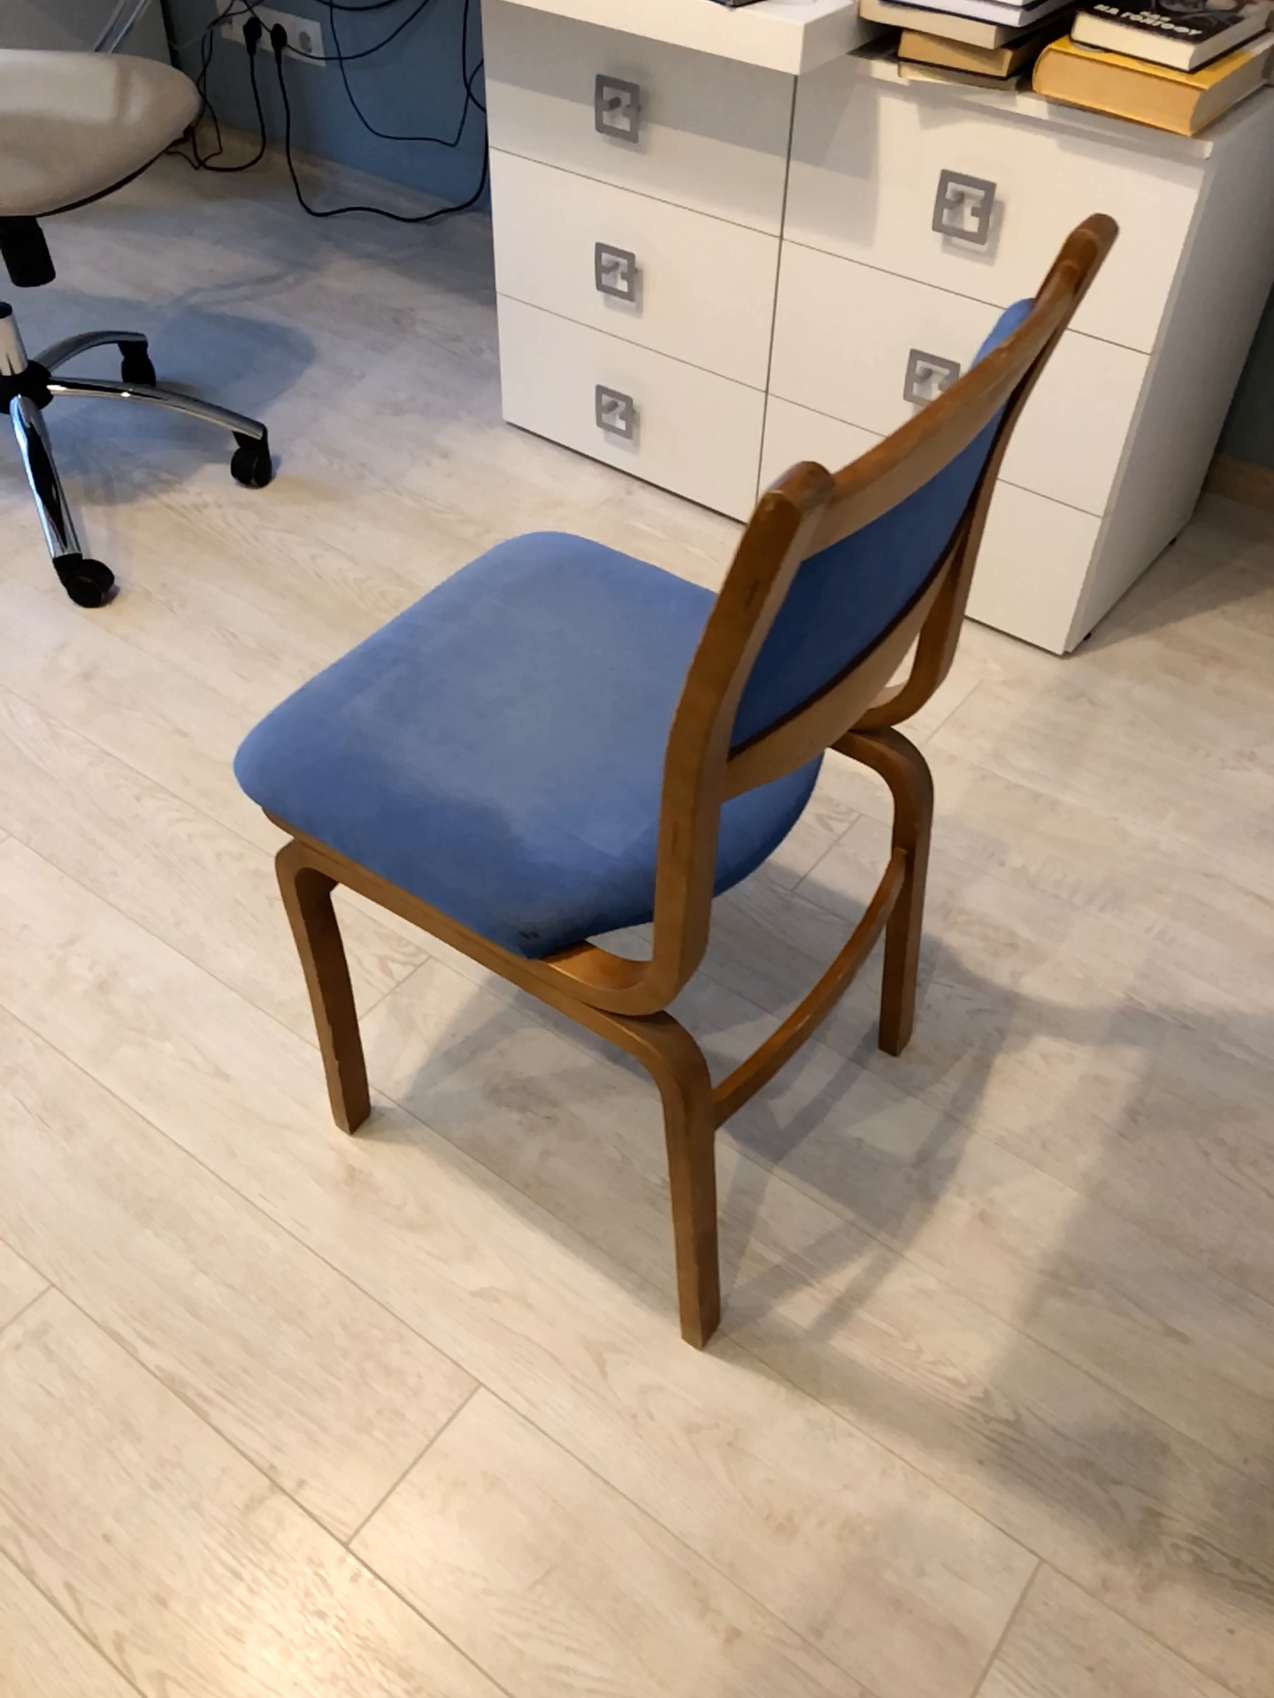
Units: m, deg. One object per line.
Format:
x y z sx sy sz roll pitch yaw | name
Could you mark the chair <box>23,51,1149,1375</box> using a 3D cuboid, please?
-0.018 -0.073 1.084 0.471 0.805 0.452 26 51 22 | chair
